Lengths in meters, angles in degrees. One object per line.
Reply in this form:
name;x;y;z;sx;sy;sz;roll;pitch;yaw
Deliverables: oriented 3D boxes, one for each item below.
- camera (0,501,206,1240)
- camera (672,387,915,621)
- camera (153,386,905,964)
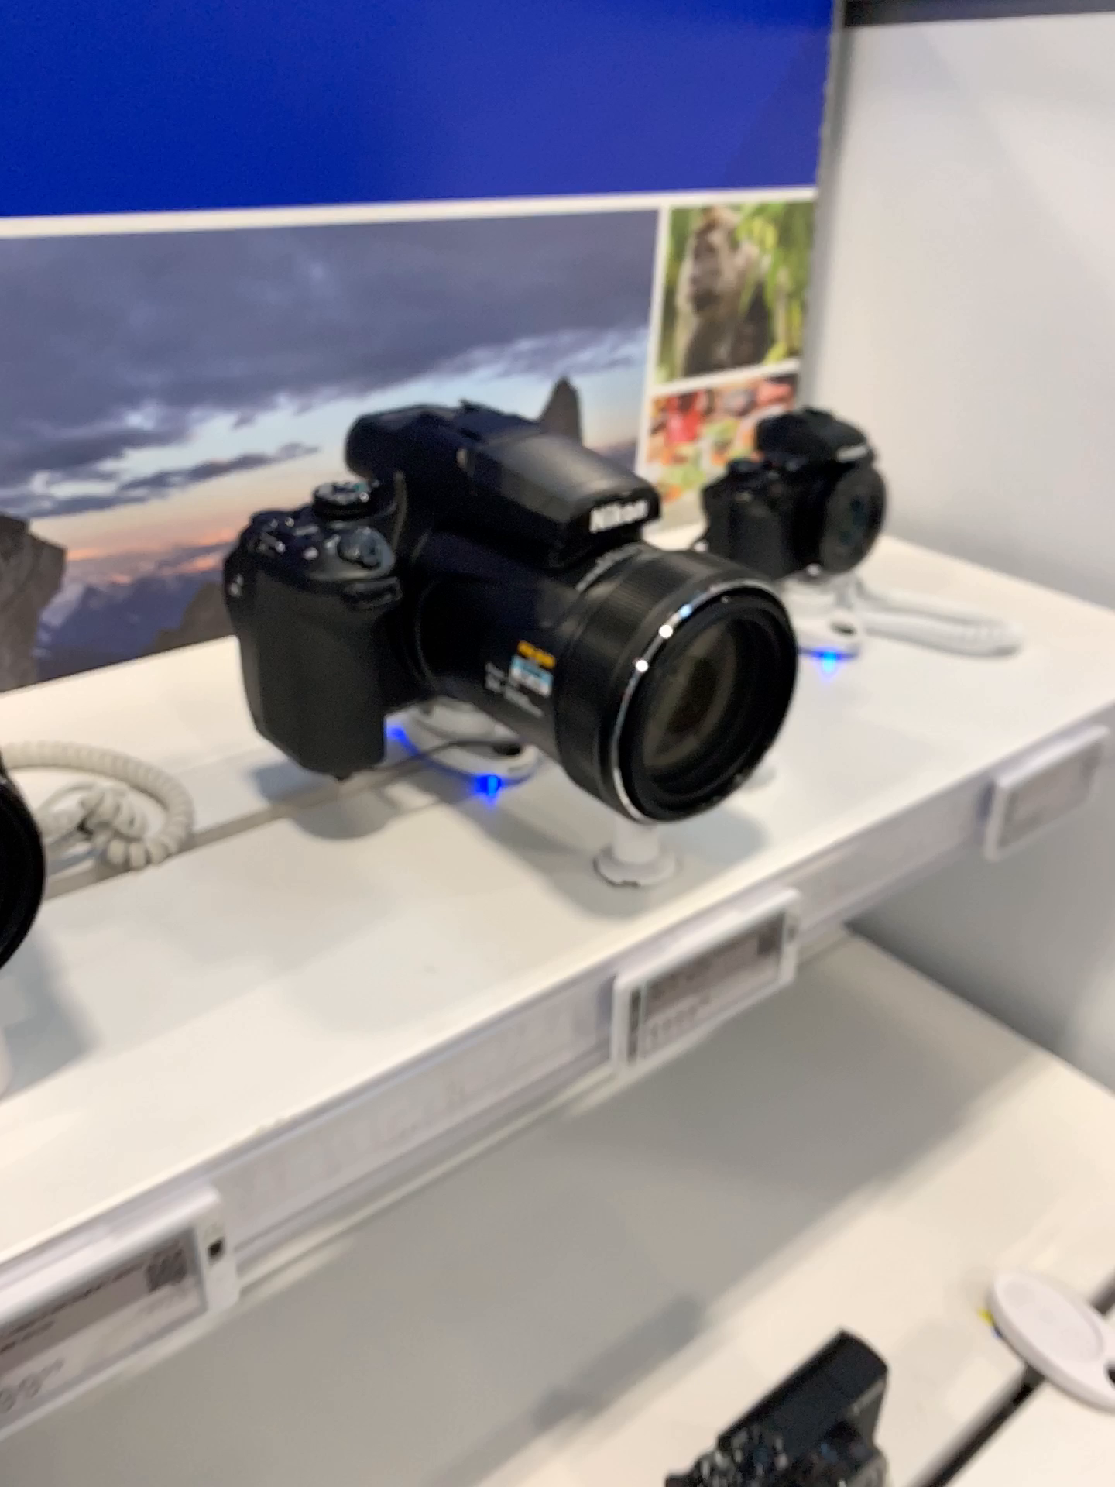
camera;-0.212;0.012;0.326;0.160;0.099;0.151;-20;34;-34
camera;0.125;-0.131;0.621;0.120;0.089;0.060;-24;36;-38
camera;-0.020;-0.049;0.433;0.160;0.109;0.221;-21;35;-35
